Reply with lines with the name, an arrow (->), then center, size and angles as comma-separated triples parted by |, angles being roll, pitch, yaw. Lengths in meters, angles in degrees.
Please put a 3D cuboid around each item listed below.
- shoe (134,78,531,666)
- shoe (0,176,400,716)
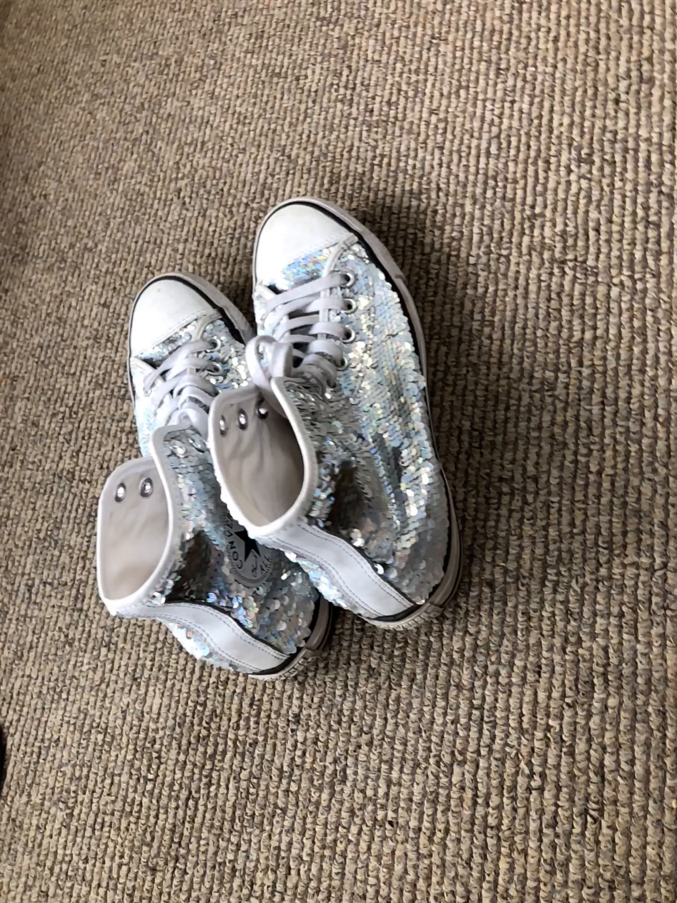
shoe -> -0.009, -0.038, 0.401 | 0.111, 0.128, 0.264 | -23, 62, 16
shoe -> -0.088, -0.001, 0.433 | 0.111, 0.137, 0.265 | -31, 60, 12
